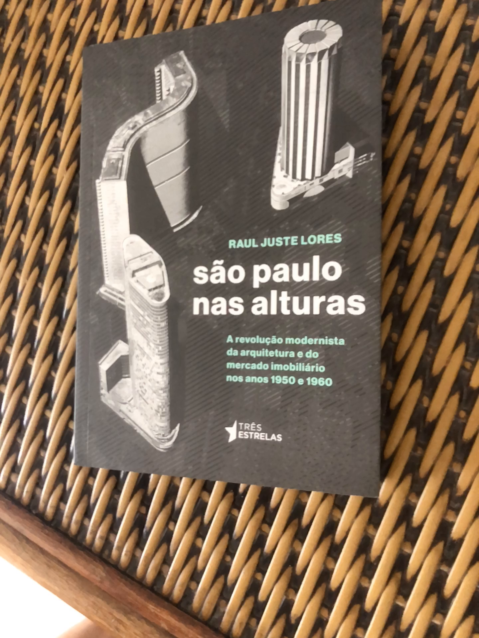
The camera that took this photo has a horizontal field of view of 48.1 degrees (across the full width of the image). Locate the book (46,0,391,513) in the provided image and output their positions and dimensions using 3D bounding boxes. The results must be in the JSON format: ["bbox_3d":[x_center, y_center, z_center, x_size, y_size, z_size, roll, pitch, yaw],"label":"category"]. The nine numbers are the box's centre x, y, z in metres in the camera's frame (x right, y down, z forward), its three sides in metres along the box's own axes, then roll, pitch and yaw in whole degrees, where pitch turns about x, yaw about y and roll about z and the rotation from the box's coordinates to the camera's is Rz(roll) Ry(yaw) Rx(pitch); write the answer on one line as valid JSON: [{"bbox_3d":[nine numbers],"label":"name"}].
[{"bbox_3d":[-0.014,-0.033,0.255,0.160,0.030,0.221,2,91,18],"label":"book"}]
